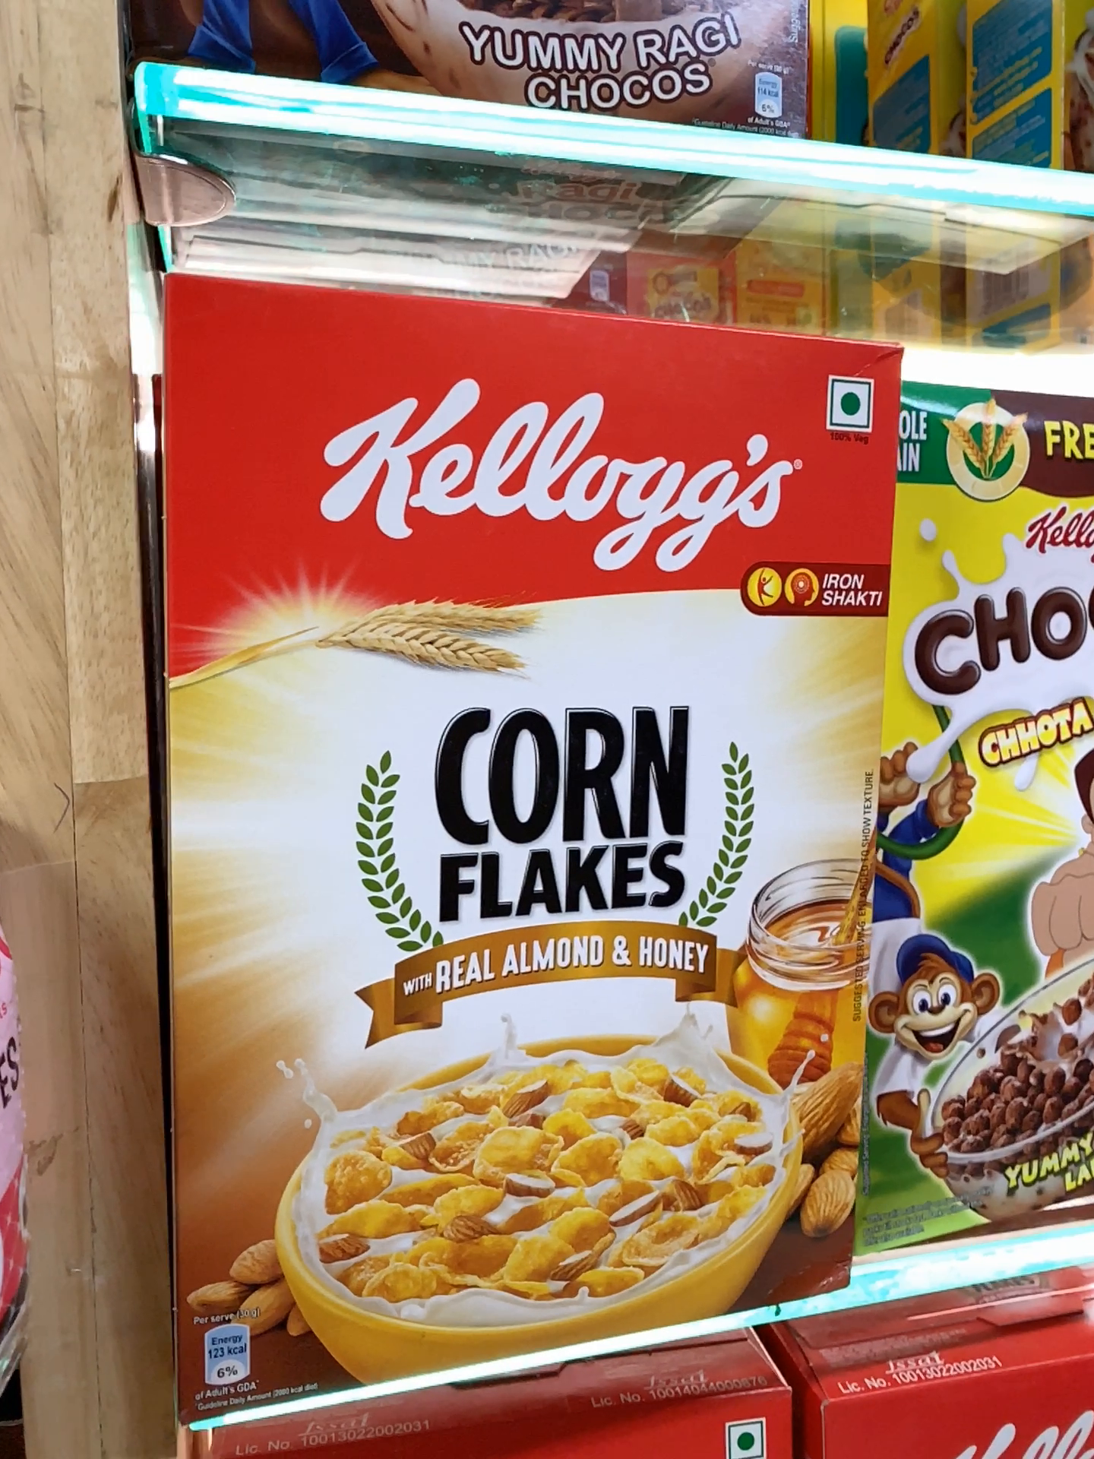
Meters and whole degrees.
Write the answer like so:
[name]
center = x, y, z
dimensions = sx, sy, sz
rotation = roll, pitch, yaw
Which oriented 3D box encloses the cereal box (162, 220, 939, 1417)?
[cereal box]
center = -0.004, 0.018, 0.283
dimensions = 0.170, 0.239, 0.070
rotation = -1, 7, -18
